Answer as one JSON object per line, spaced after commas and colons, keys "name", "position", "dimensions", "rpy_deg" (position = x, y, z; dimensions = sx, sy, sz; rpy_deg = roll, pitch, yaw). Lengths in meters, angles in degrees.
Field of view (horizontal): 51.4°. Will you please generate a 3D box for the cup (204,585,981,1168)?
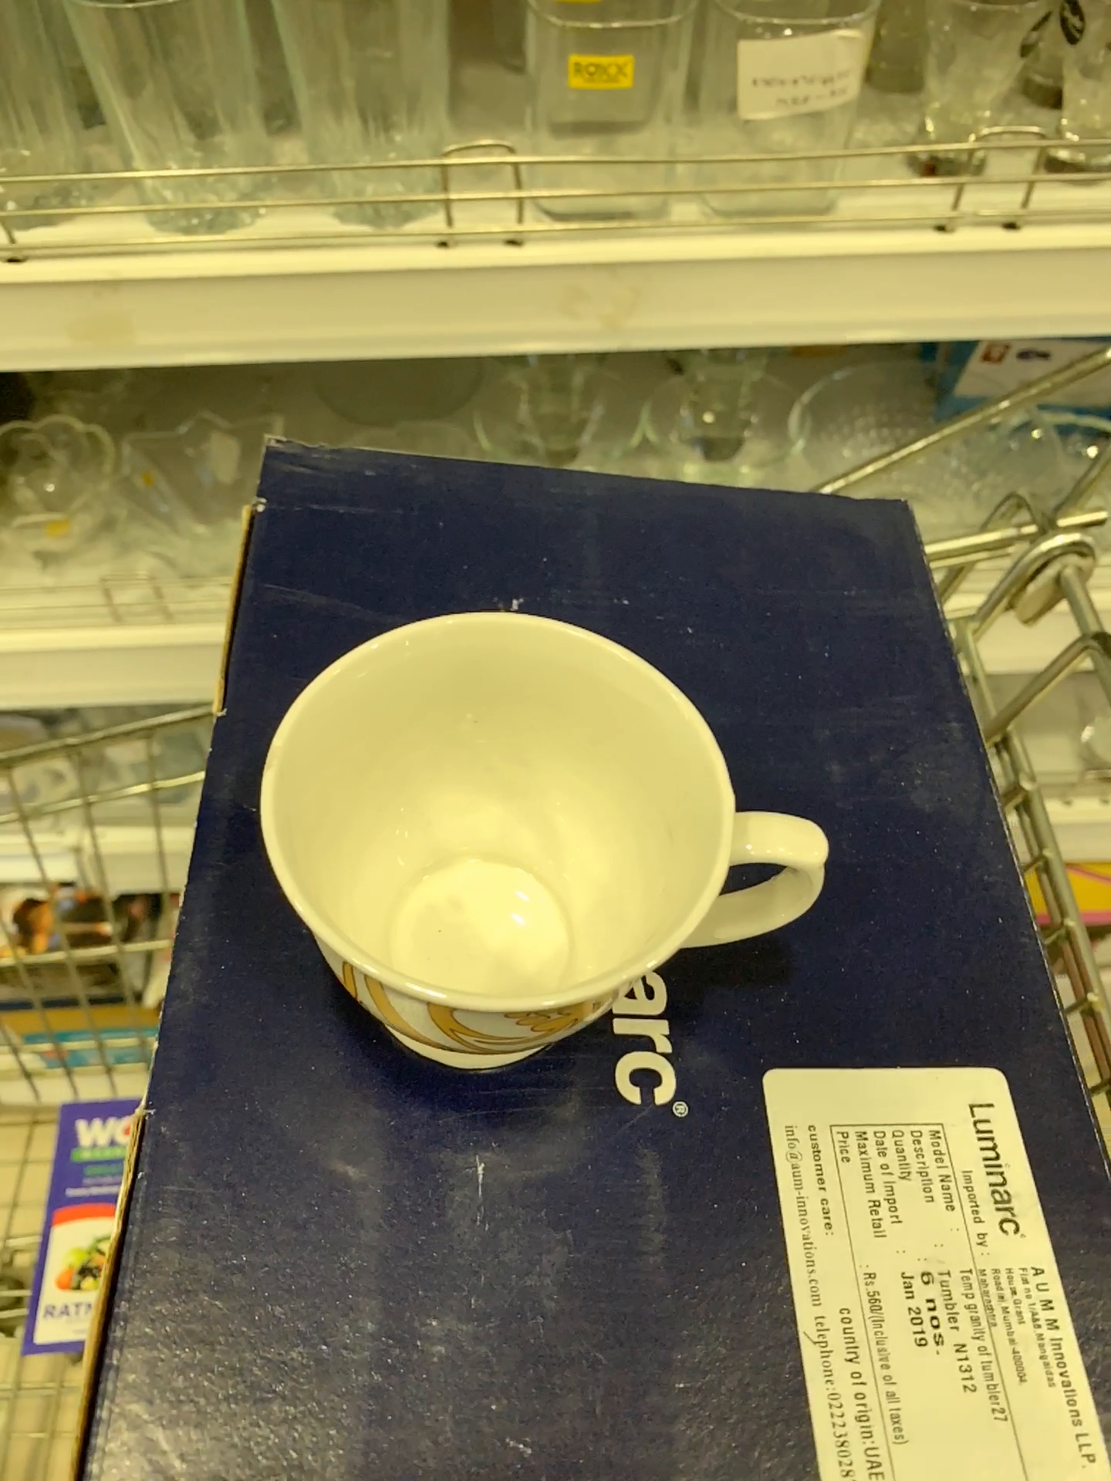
{"name": "cup", "position": [0.004, 0.019, 0.170], "dimensions": [0.090, 0.040, 0.070], "rpy_deg": [3, 54, -3]}
